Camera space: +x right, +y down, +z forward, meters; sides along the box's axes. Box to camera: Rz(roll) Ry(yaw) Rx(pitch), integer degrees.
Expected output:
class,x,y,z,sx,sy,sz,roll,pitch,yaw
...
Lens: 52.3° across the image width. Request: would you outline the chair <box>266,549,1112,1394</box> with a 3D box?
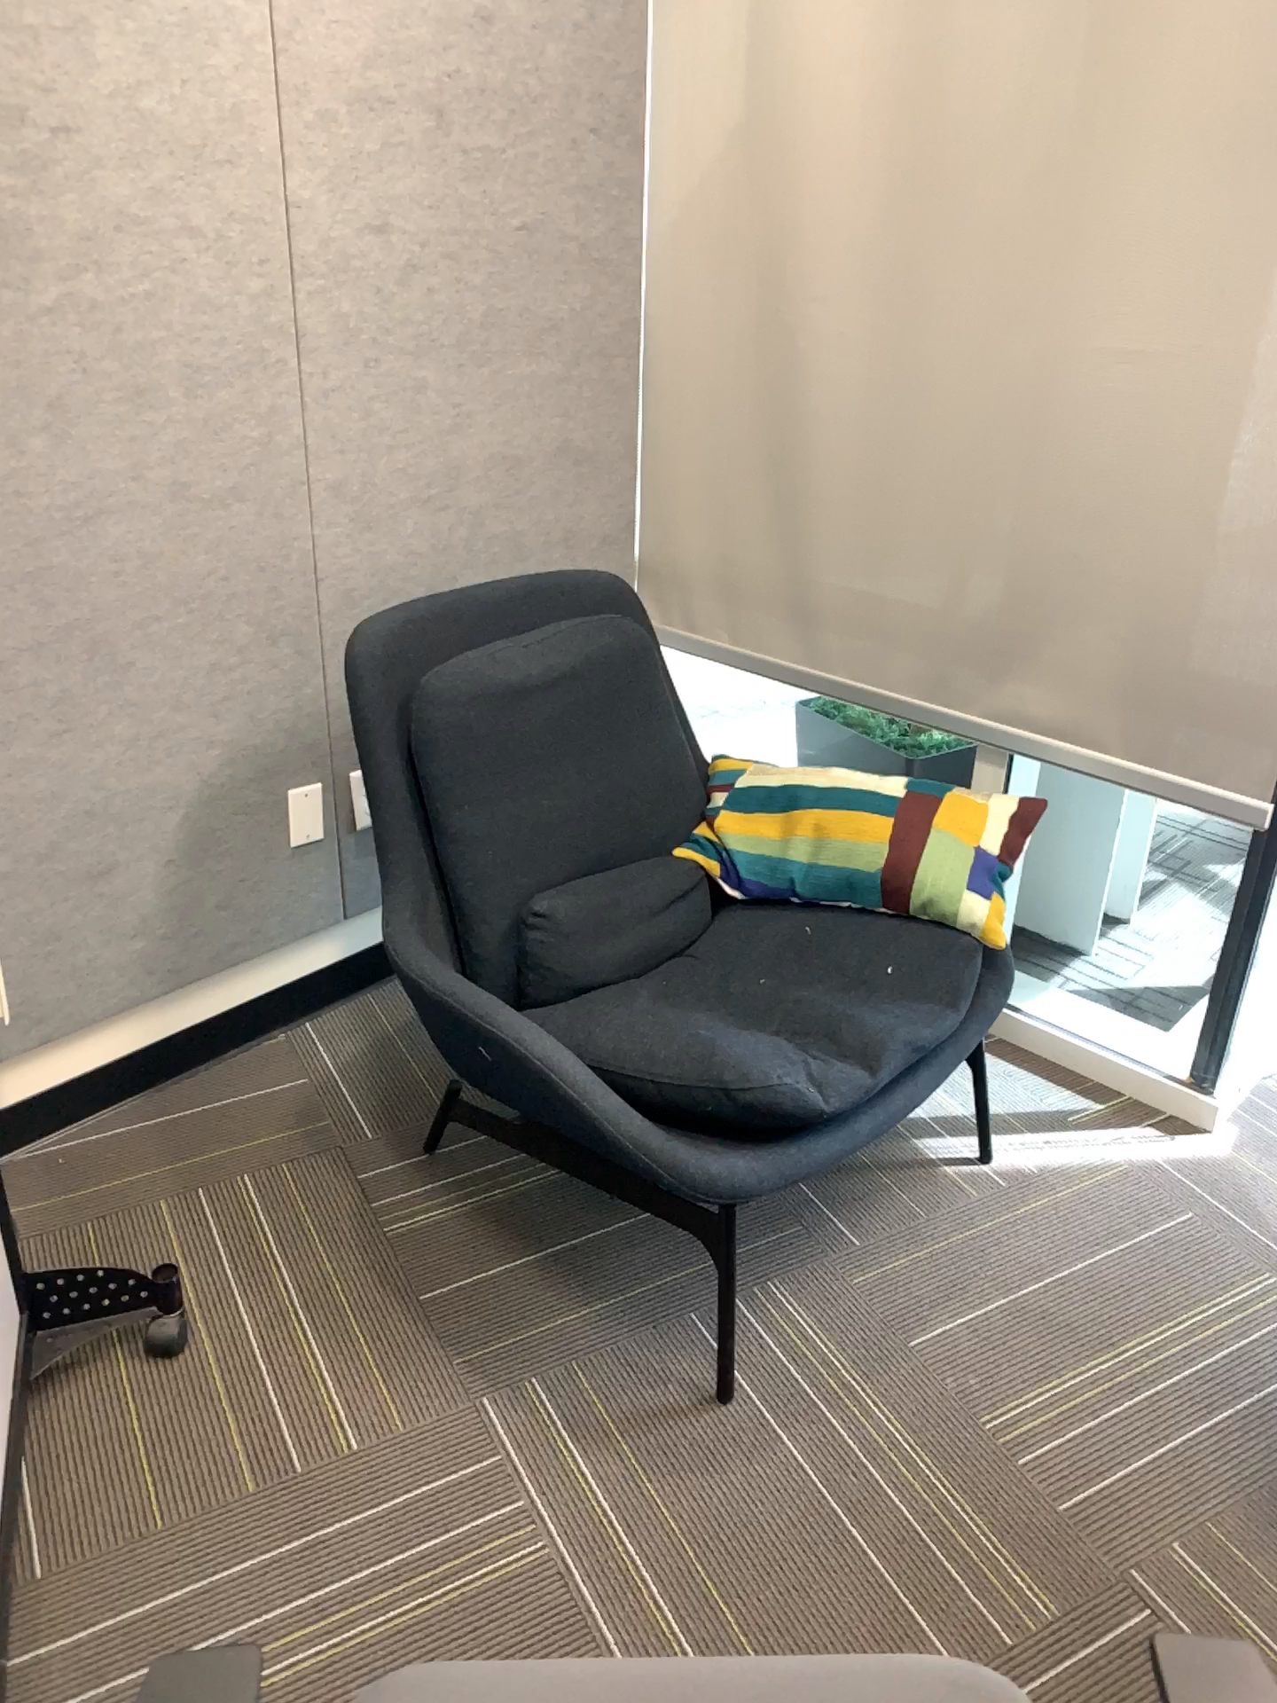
class,x,y,z,sx,sy,sz,roll,pitch,yaw
chair,0.032,0.066,2.114,0.791,0.816,1.004,-20,33,-37
